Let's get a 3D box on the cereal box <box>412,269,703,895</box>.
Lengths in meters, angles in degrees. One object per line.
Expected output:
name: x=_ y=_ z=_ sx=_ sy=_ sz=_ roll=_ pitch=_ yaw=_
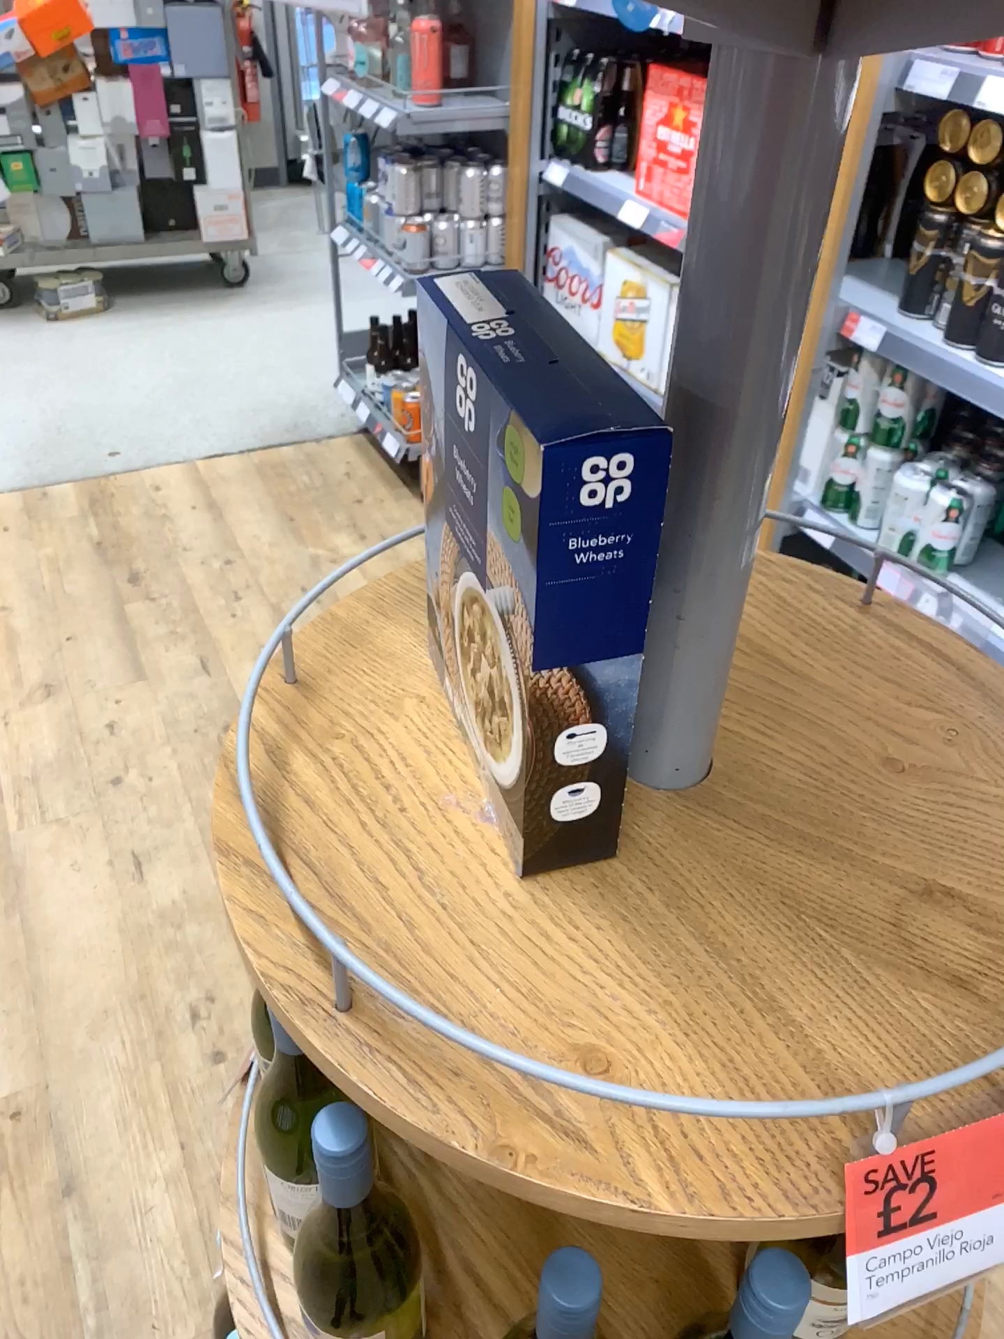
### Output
cereal box: x=0.009 y=-0.047 z=0.505 sx=0.060 sy=0.228 sz=0.202 roll=-9 pitch=39 yaw=-15
